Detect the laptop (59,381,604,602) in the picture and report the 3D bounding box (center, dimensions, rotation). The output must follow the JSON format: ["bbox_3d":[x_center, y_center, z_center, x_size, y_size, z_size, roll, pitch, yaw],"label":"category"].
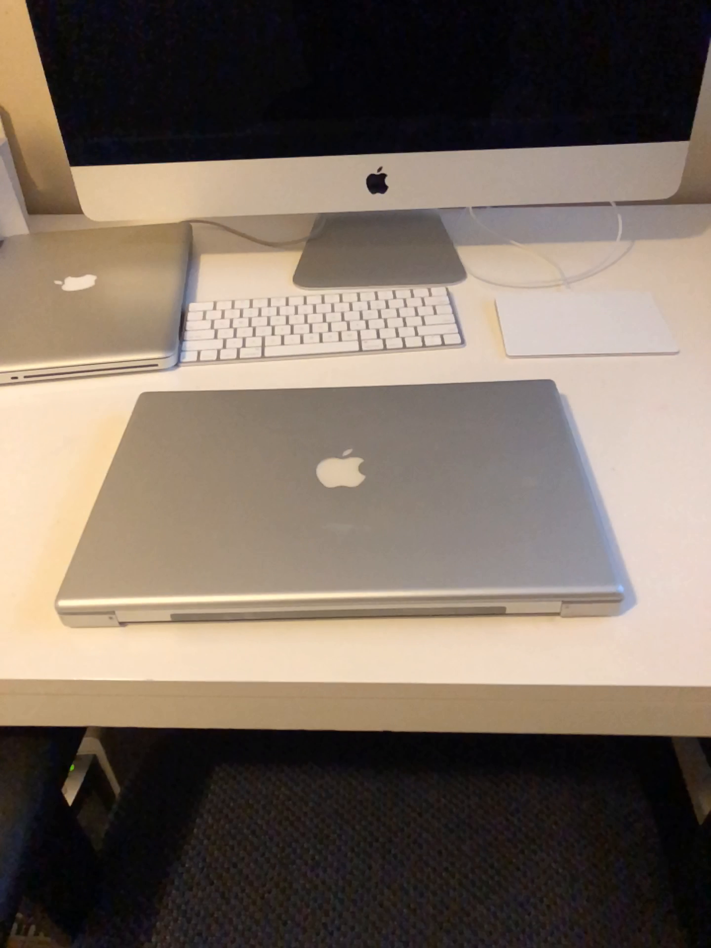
[{"bbox_3d":[-0.012,0.002,0.556,0.332,0.005,0.215,-1,41,2],"label":"laptop"}]

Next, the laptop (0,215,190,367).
[{"bbox_3d":[-0.293,-0.203,0.813,0.200,0.009,0.280,-3,41,-4],"label":"laptop"}]
